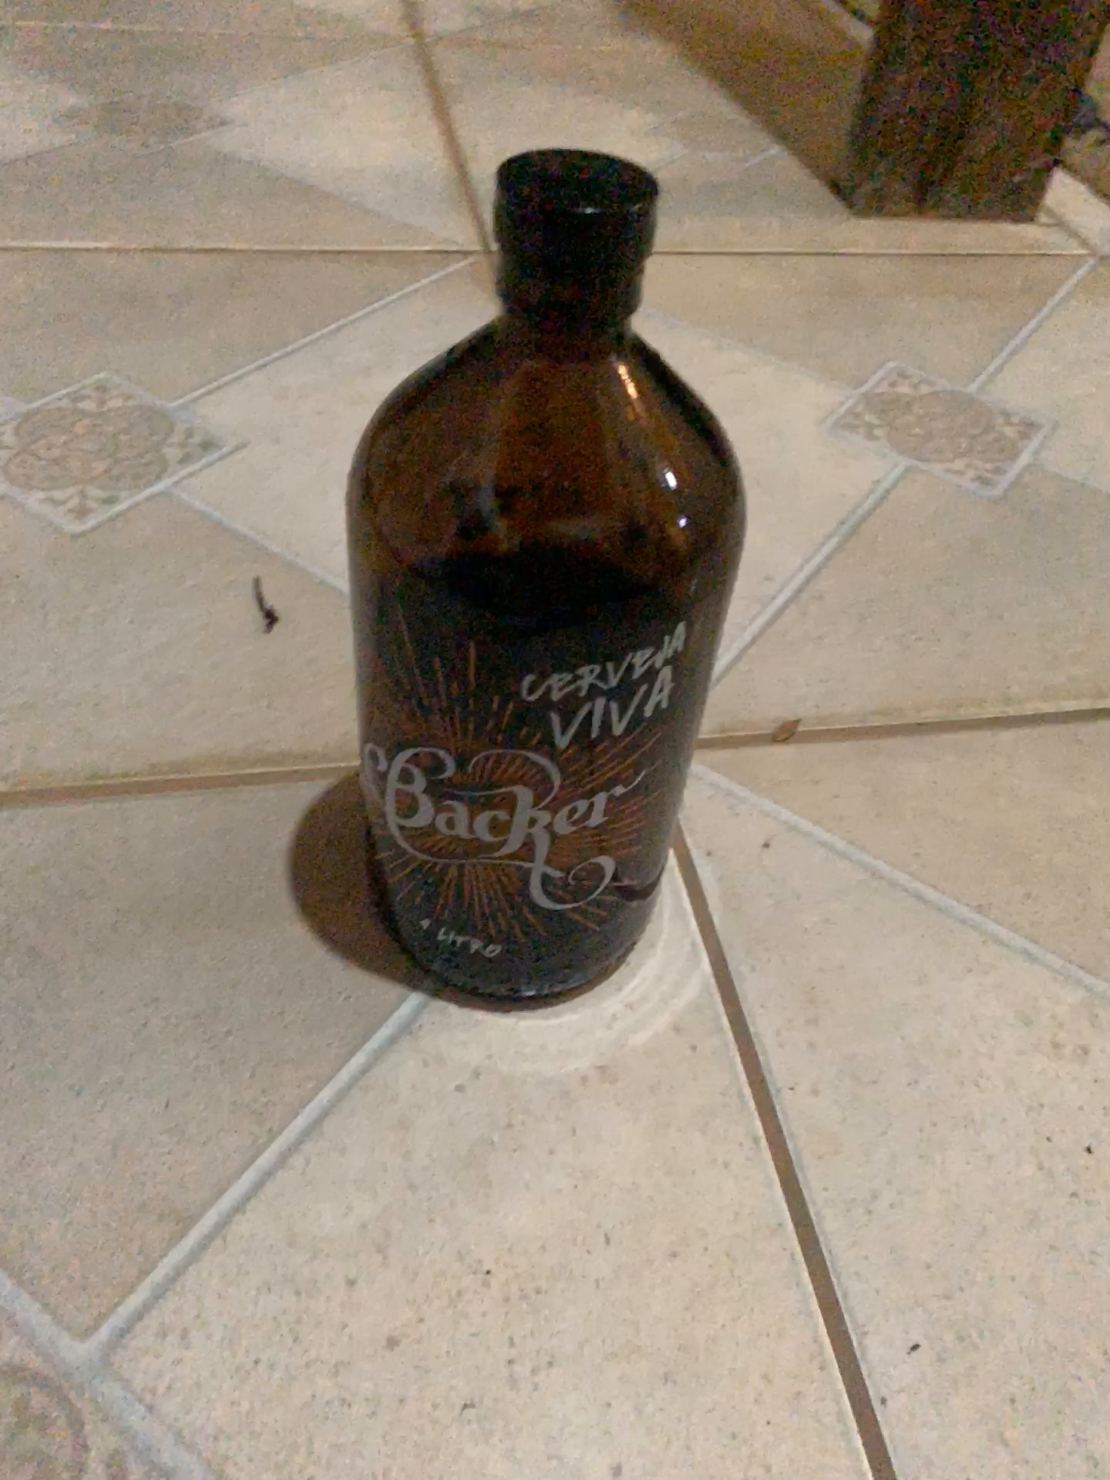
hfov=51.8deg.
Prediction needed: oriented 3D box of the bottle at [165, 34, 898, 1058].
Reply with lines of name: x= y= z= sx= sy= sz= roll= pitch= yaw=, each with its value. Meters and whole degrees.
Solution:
bottle: x=-0.005 y=-0.031 z=0.275 sx=0.100 sy=0.209 sz=0.090 roll=19 pitch=48 yaw=13
